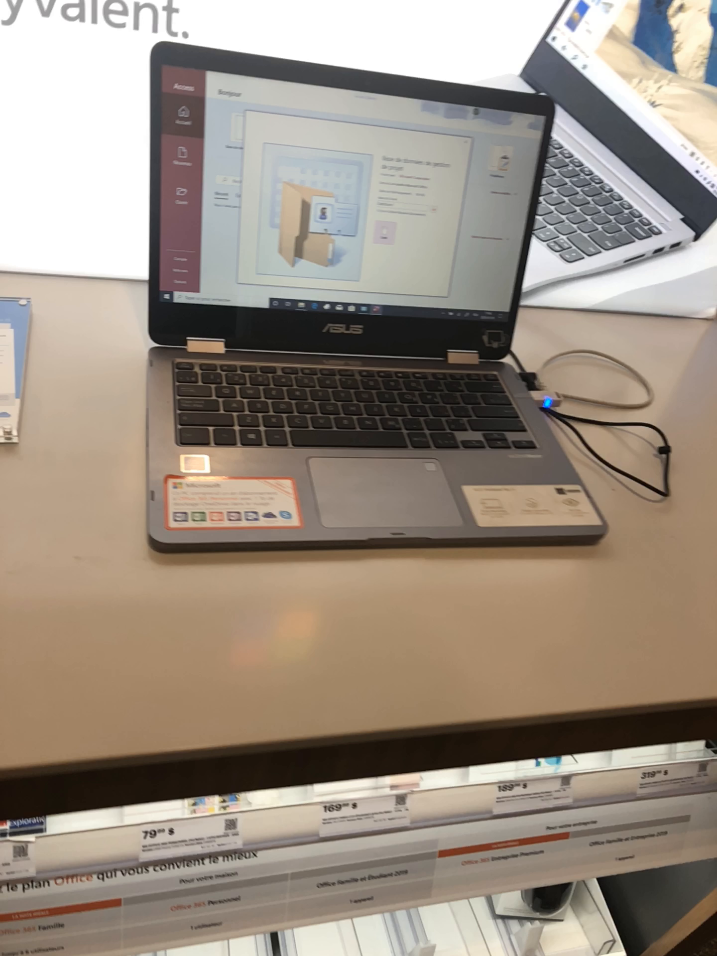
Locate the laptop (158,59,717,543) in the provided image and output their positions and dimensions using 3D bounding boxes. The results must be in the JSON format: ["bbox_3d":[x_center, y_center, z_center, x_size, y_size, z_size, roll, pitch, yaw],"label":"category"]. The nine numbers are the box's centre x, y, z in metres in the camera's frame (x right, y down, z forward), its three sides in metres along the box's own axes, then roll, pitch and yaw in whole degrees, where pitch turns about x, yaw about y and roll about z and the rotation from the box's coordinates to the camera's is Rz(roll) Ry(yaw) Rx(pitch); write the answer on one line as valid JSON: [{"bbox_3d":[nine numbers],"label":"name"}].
[{"bbox_3d":[0.020,-0.129,0.565,0.311,0.214,0.273,0,40,-16],"label":"laptop"}]
